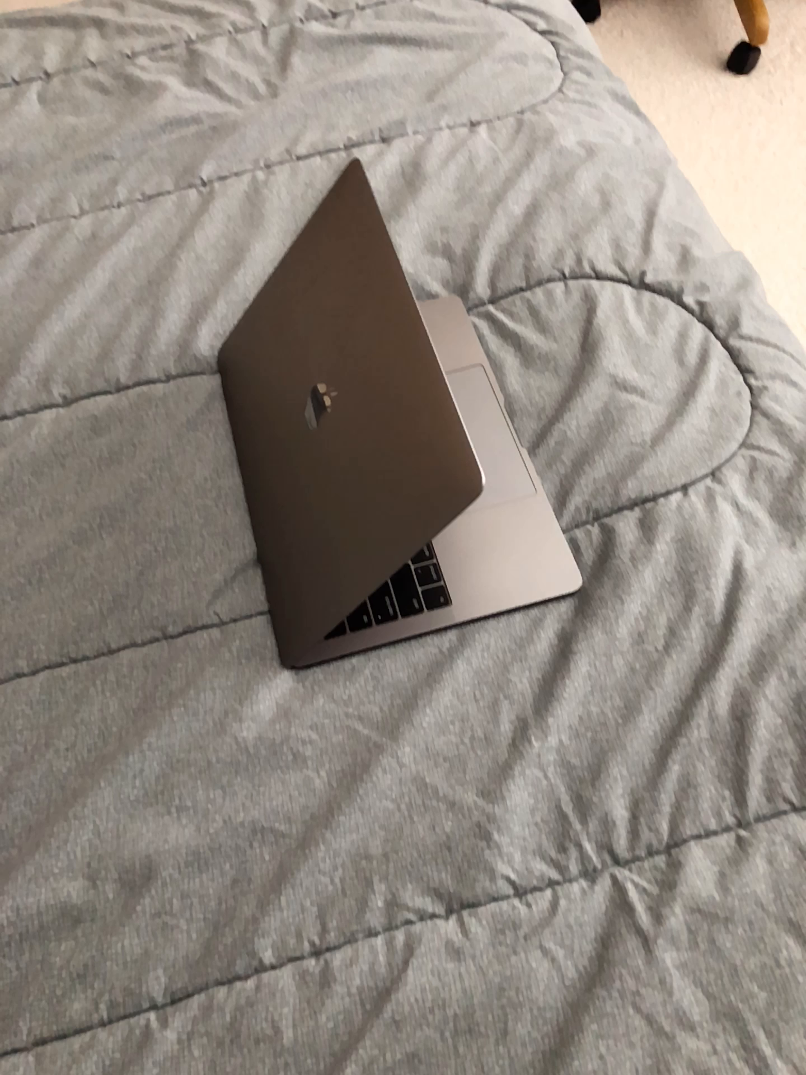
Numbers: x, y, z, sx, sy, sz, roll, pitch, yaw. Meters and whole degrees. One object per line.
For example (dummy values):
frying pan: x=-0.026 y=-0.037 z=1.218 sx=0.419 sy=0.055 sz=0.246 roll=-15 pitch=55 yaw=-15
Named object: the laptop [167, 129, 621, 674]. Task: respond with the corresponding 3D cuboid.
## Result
laptop: x=-0.018 y=-0.093 z=0.568 sx=0.195 sy=0.140 sz=0.279 roll=-15 pitch=59 yaw=-5
